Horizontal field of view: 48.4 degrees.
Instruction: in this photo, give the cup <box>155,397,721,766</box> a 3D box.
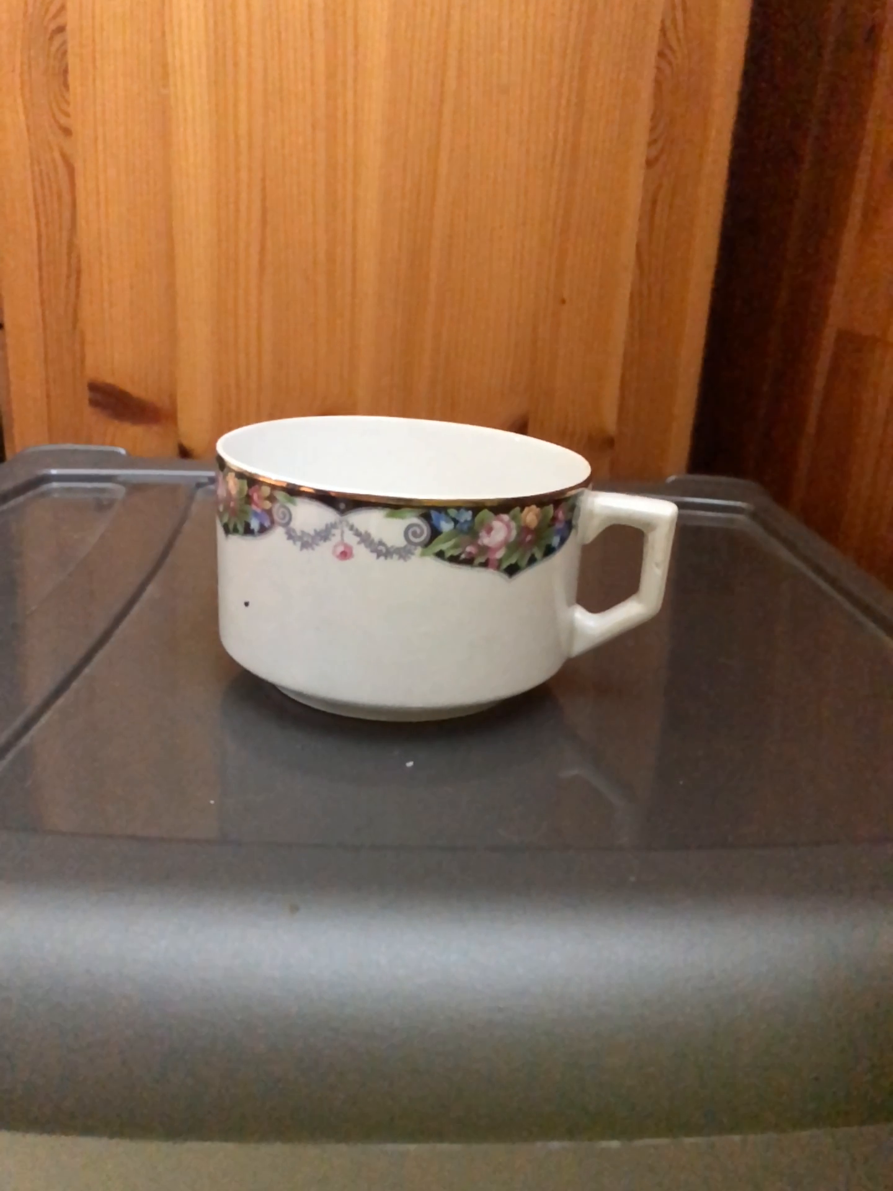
[{"bbox_3d":[0.003,-0.013,0.280,0.130,0.060,0.101,7,20,9],"label":"cup"}]
